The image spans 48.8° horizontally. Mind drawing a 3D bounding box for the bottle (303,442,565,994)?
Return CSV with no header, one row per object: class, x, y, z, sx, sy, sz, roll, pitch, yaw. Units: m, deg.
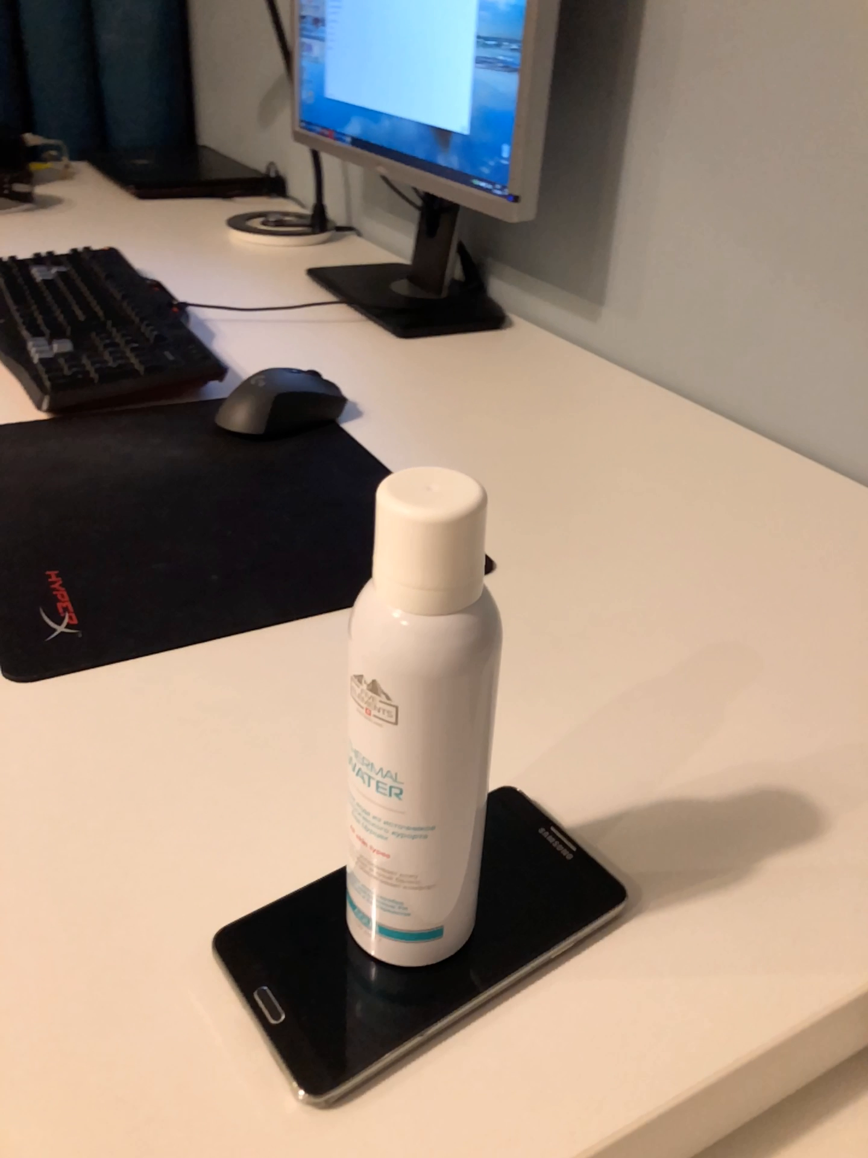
bottle,-0.003,0.051,0.328,0.054,0.175,0.059,22,36,29
